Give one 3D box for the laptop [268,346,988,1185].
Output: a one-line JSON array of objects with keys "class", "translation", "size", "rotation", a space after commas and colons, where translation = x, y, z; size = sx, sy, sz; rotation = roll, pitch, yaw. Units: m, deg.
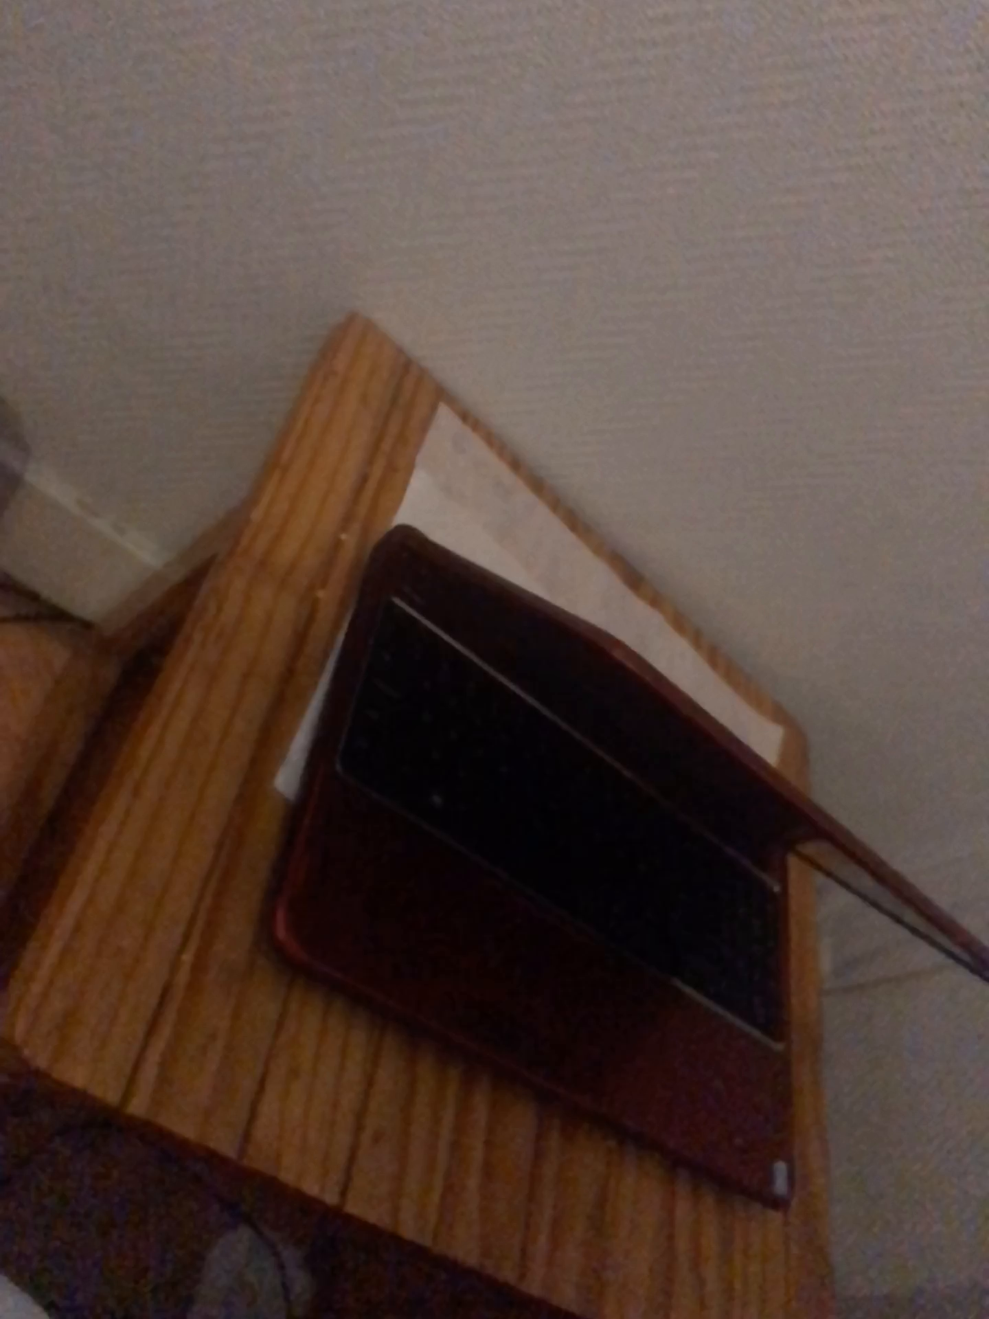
[{"class": "laptop", "translation": [0.108, 0.081, 0.576], "size": [0.373, 0.168, 0.254], "rotation": [39, 41, -32]}]
